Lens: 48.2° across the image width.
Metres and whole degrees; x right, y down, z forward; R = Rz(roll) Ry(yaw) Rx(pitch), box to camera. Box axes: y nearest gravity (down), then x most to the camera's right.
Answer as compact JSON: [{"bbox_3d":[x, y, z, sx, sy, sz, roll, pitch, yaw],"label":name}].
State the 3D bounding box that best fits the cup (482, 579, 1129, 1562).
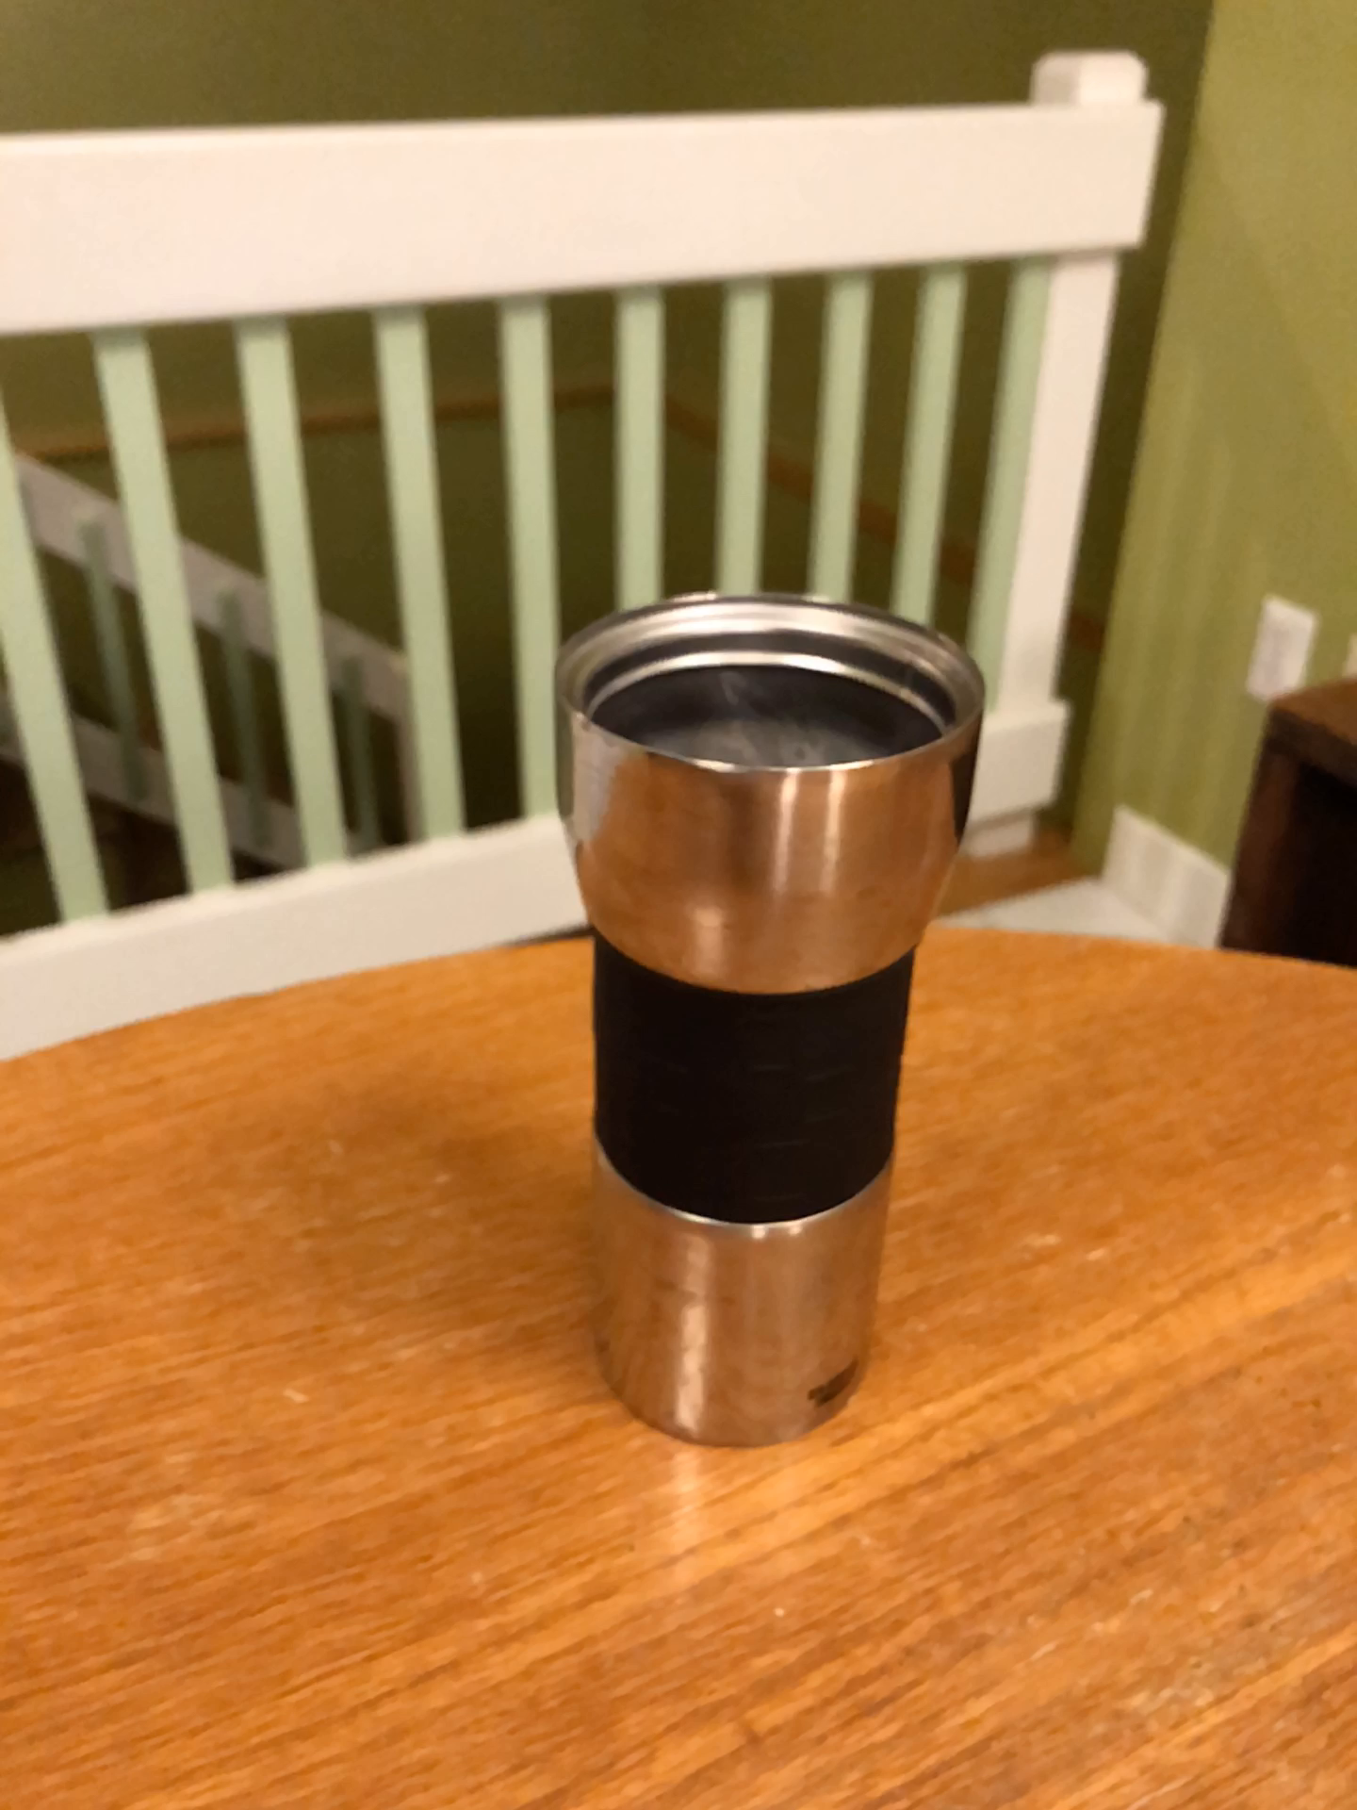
[{"bbox_3d":[0.021,0.034,0.329,0.088,0.173,0.084,1,31,-1],"label":"cup"}]
